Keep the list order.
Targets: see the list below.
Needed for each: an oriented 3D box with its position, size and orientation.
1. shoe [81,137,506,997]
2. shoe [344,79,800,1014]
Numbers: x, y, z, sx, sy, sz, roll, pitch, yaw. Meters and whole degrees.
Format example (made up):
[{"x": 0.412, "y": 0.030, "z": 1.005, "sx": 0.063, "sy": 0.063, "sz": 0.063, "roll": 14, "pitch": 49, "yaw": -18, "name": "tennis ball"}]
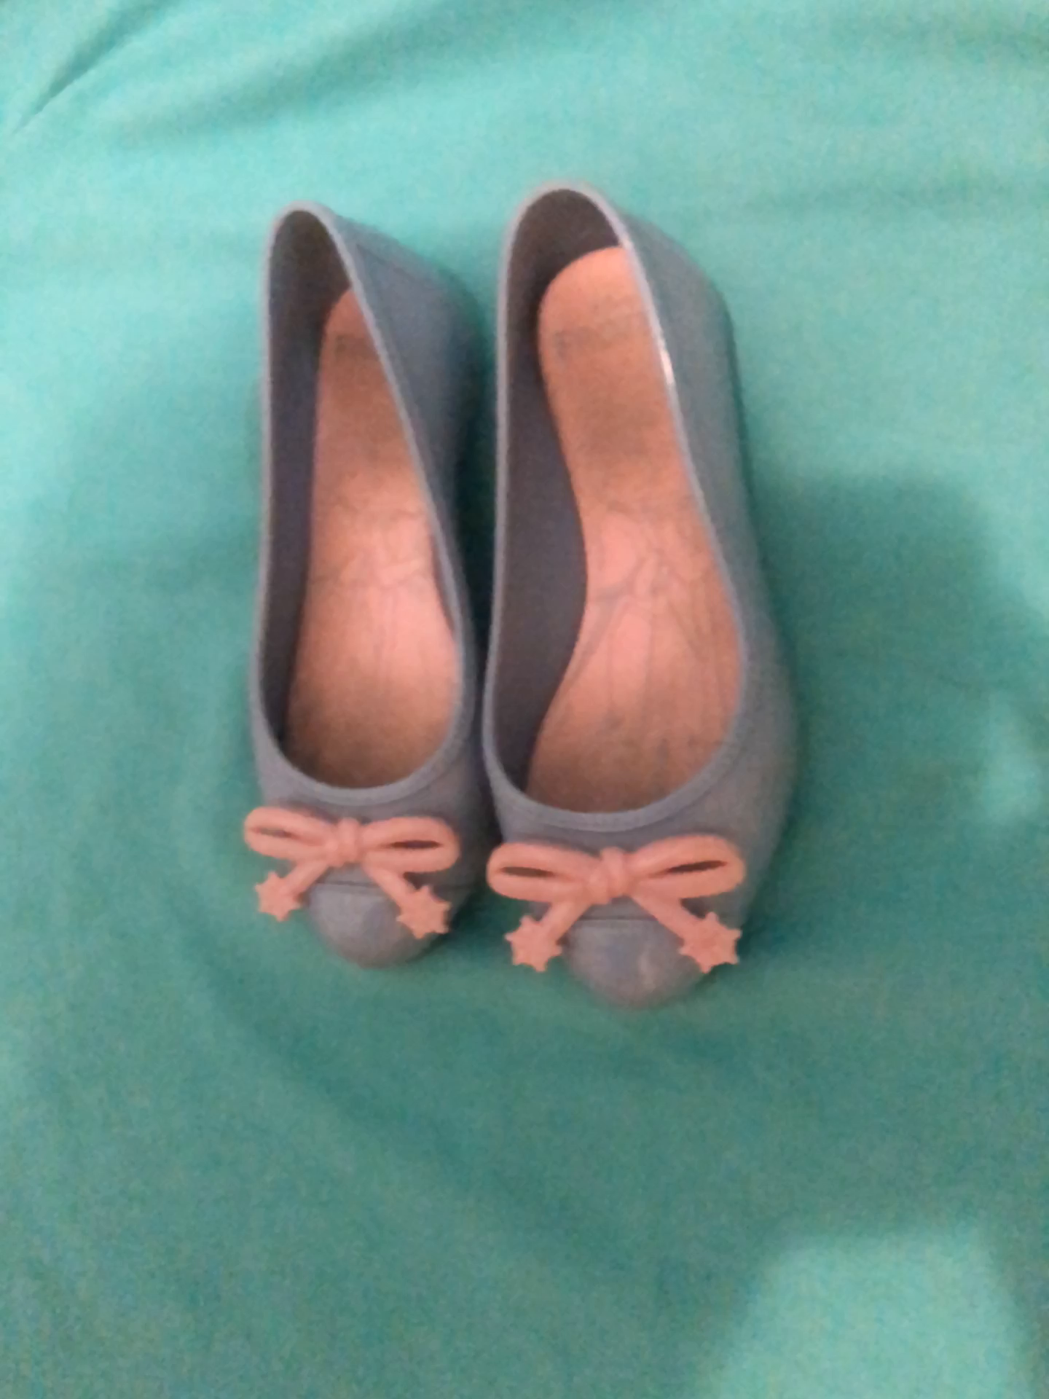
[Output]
[{"x": -0.058, "y": -0.027, "z": 0.296, "sx": 0.080, "sy": 0.060, "sz": 0.190, "roll": -6, "pitch": 82, "yaw": 20, "name": "shoe"}, {"x": 0.011, "y": -0.029, "z": 0.274, "sx": 0.080, "sy": 0.060, "sz": 0.190, "roll": -6, "pitch": 82, "yaw": 20, "name": "shoe"}]
